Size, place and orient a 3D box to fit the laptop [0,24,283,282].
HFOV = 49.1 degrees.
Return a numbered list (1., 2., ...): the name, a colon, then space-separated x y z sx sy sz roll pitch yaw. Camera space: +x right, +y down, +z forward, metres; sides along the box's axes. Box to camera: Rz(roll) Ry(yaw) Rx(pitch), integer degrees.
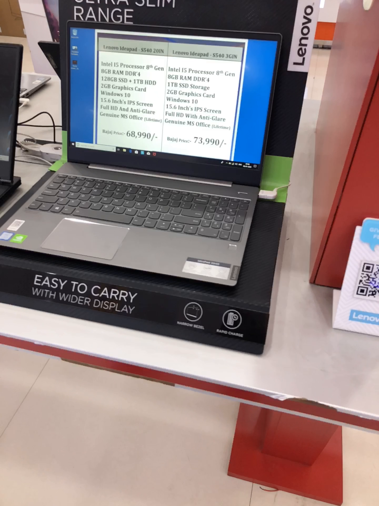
1. laptop: -0.069 -0.167 0.587 0.335 0.194 0.326 9 43 10
